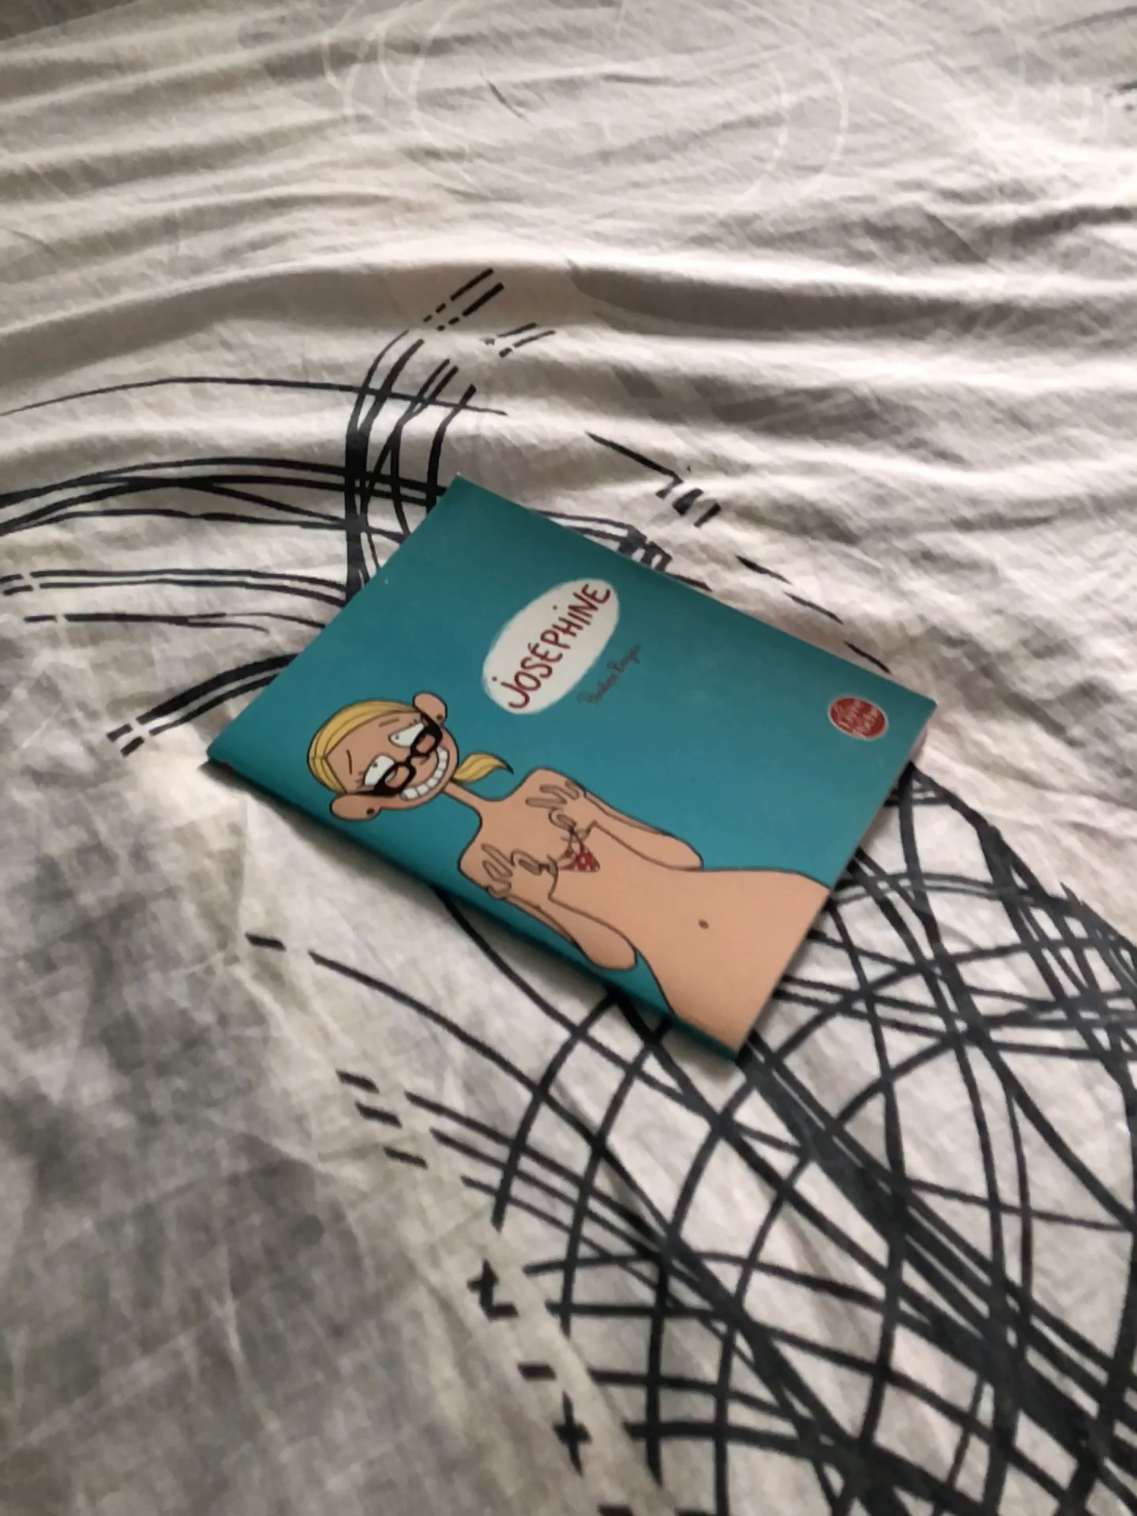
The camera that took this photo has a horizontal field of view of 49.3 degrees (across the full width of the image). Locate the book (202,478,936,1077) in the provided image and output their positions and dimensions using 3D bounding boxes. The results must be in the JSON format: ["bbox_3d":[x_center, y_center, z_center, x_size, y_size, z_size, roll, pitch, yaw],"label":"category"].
[{"bbox_3d":[0.002,-0.007,0.403,0.187,0.014,0.145,28,61,18],"label":"book"}]
